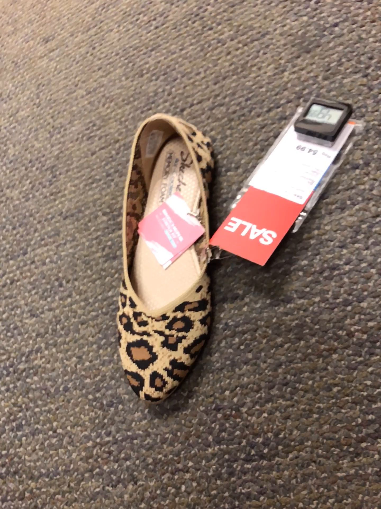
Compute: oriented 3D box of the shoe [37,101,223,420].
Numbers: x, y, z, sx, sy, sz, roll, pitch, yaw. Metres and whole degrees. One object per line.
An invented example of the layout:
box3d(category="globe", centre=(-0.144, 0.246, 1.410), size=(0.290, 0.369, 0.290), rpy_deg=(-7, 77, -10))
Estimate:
box3d(category="shoe", centre=(-0.040, 0.002, 0.341), size=(0.105, 0.056, 0.232), rpy_deg=(-3, 70, 24))
